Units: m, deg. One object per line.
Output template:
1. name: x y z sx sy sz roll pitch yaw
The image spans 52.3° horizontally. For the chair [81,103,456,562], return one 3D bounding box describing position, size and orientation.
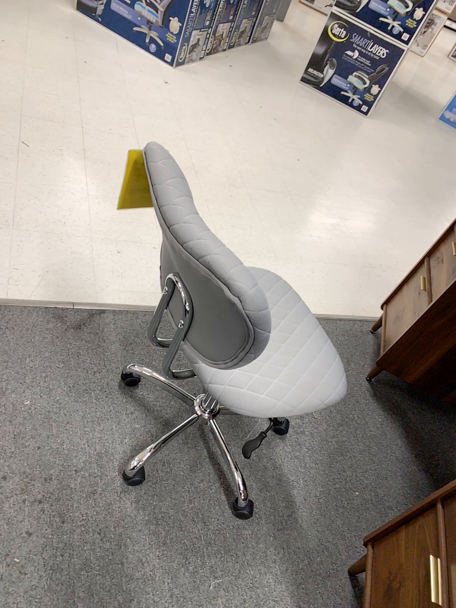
1. chair: 0.057 0.104 1.207 0.641 0.876 0.632 -3 50 -29
